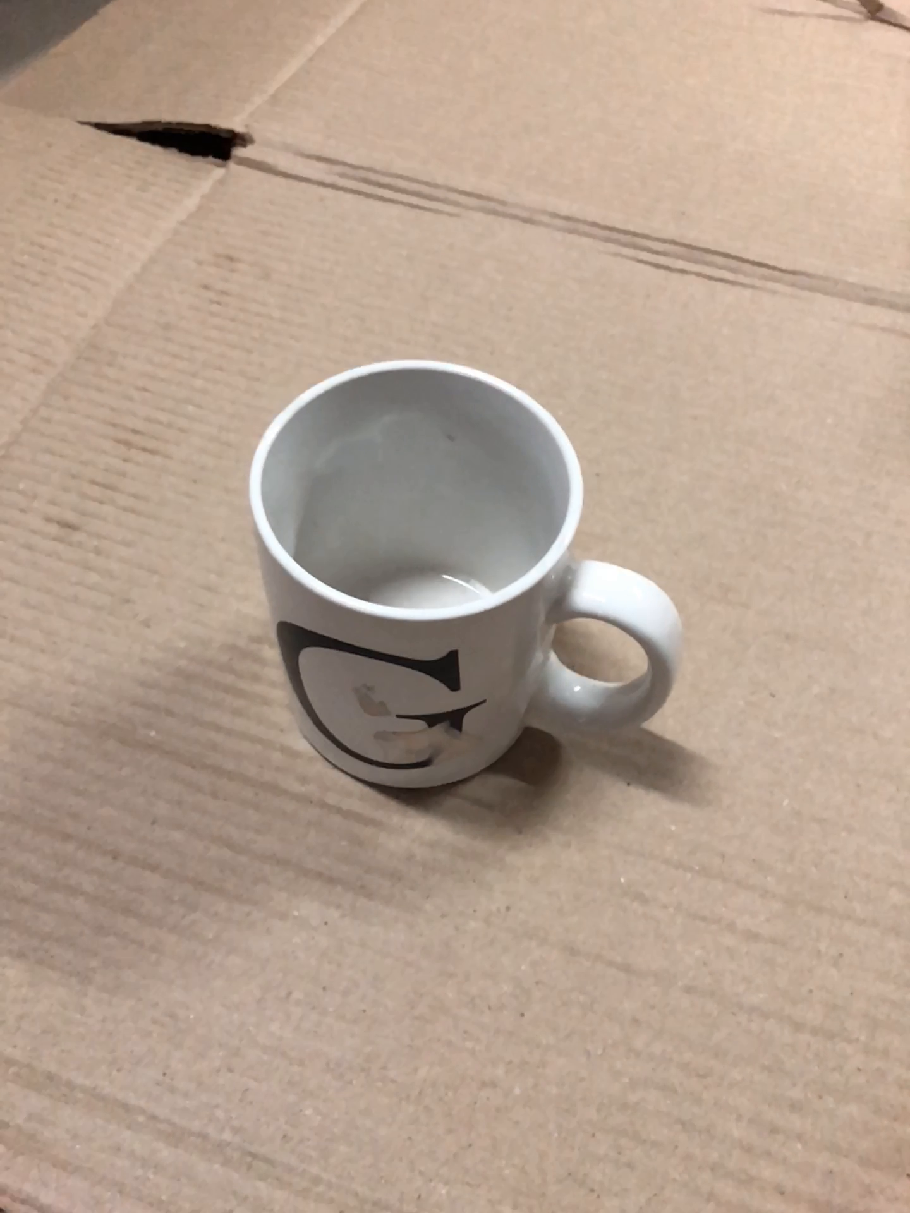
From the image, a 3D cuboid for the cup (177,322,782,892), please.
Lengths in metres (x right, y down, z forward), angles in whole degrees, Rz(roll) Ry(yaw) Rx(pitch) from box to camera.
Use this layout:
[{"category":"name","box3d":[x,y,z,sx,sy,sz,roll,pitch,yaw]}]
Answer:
[{"category":"cup","box3d":[0.008,0.000,0.246,0.110,0.080,0.080,16,52,9]}]
